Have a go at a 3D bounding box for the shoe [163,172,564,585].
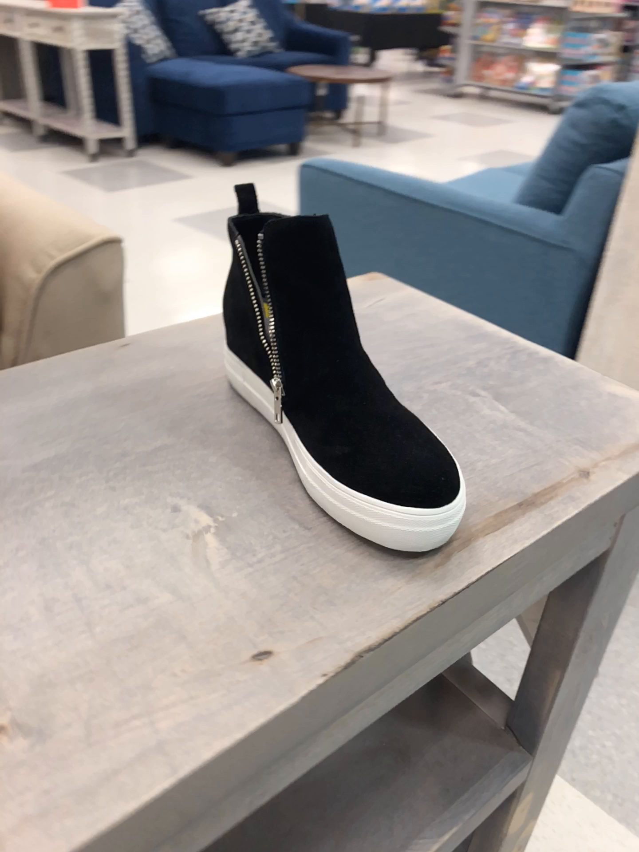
[{"bbox_3d":[0.001,-0.058,0.473,0.107,0.146,0.292,-15,36,-26],"label":"shoe"}]
